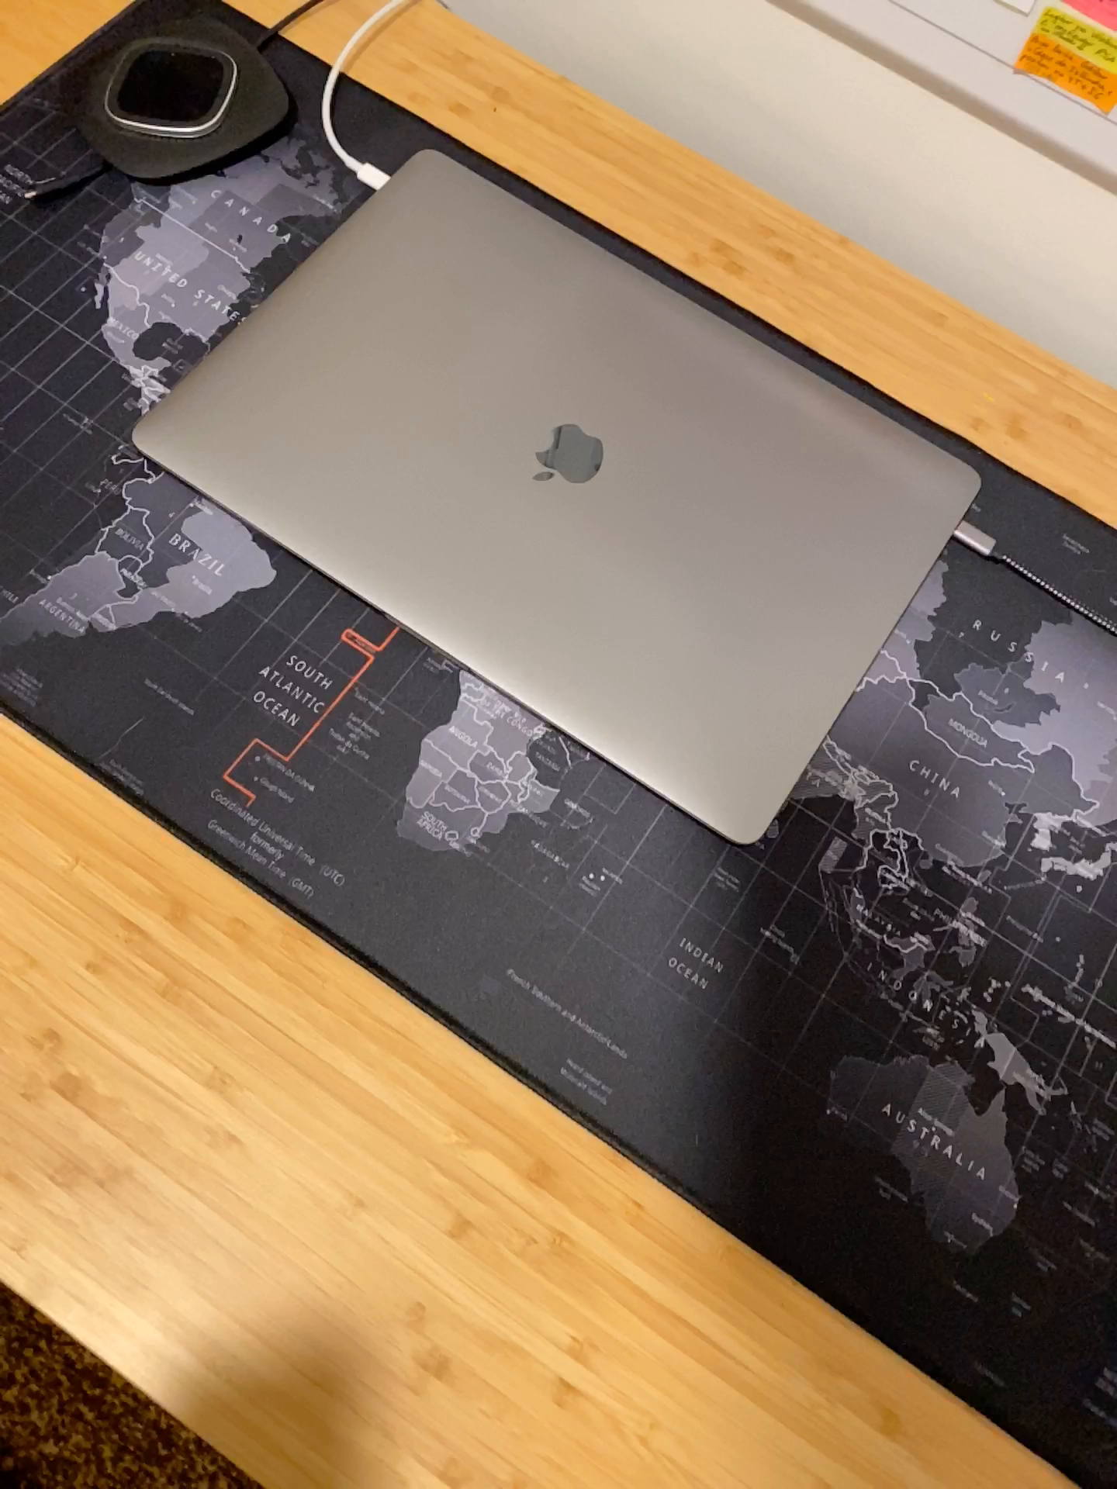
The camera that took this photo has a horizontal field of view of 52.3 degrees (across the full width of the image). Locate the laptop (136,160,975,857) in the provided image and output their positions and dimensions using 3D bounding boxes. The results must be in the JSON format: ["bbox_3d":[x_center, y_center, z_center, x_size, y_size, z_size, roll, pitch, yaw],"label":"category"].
[{"bbox_3d":[0.004,-0.132,0.543,0.336,0.002,0.227,34,70,9],"label":"laptop"}]
